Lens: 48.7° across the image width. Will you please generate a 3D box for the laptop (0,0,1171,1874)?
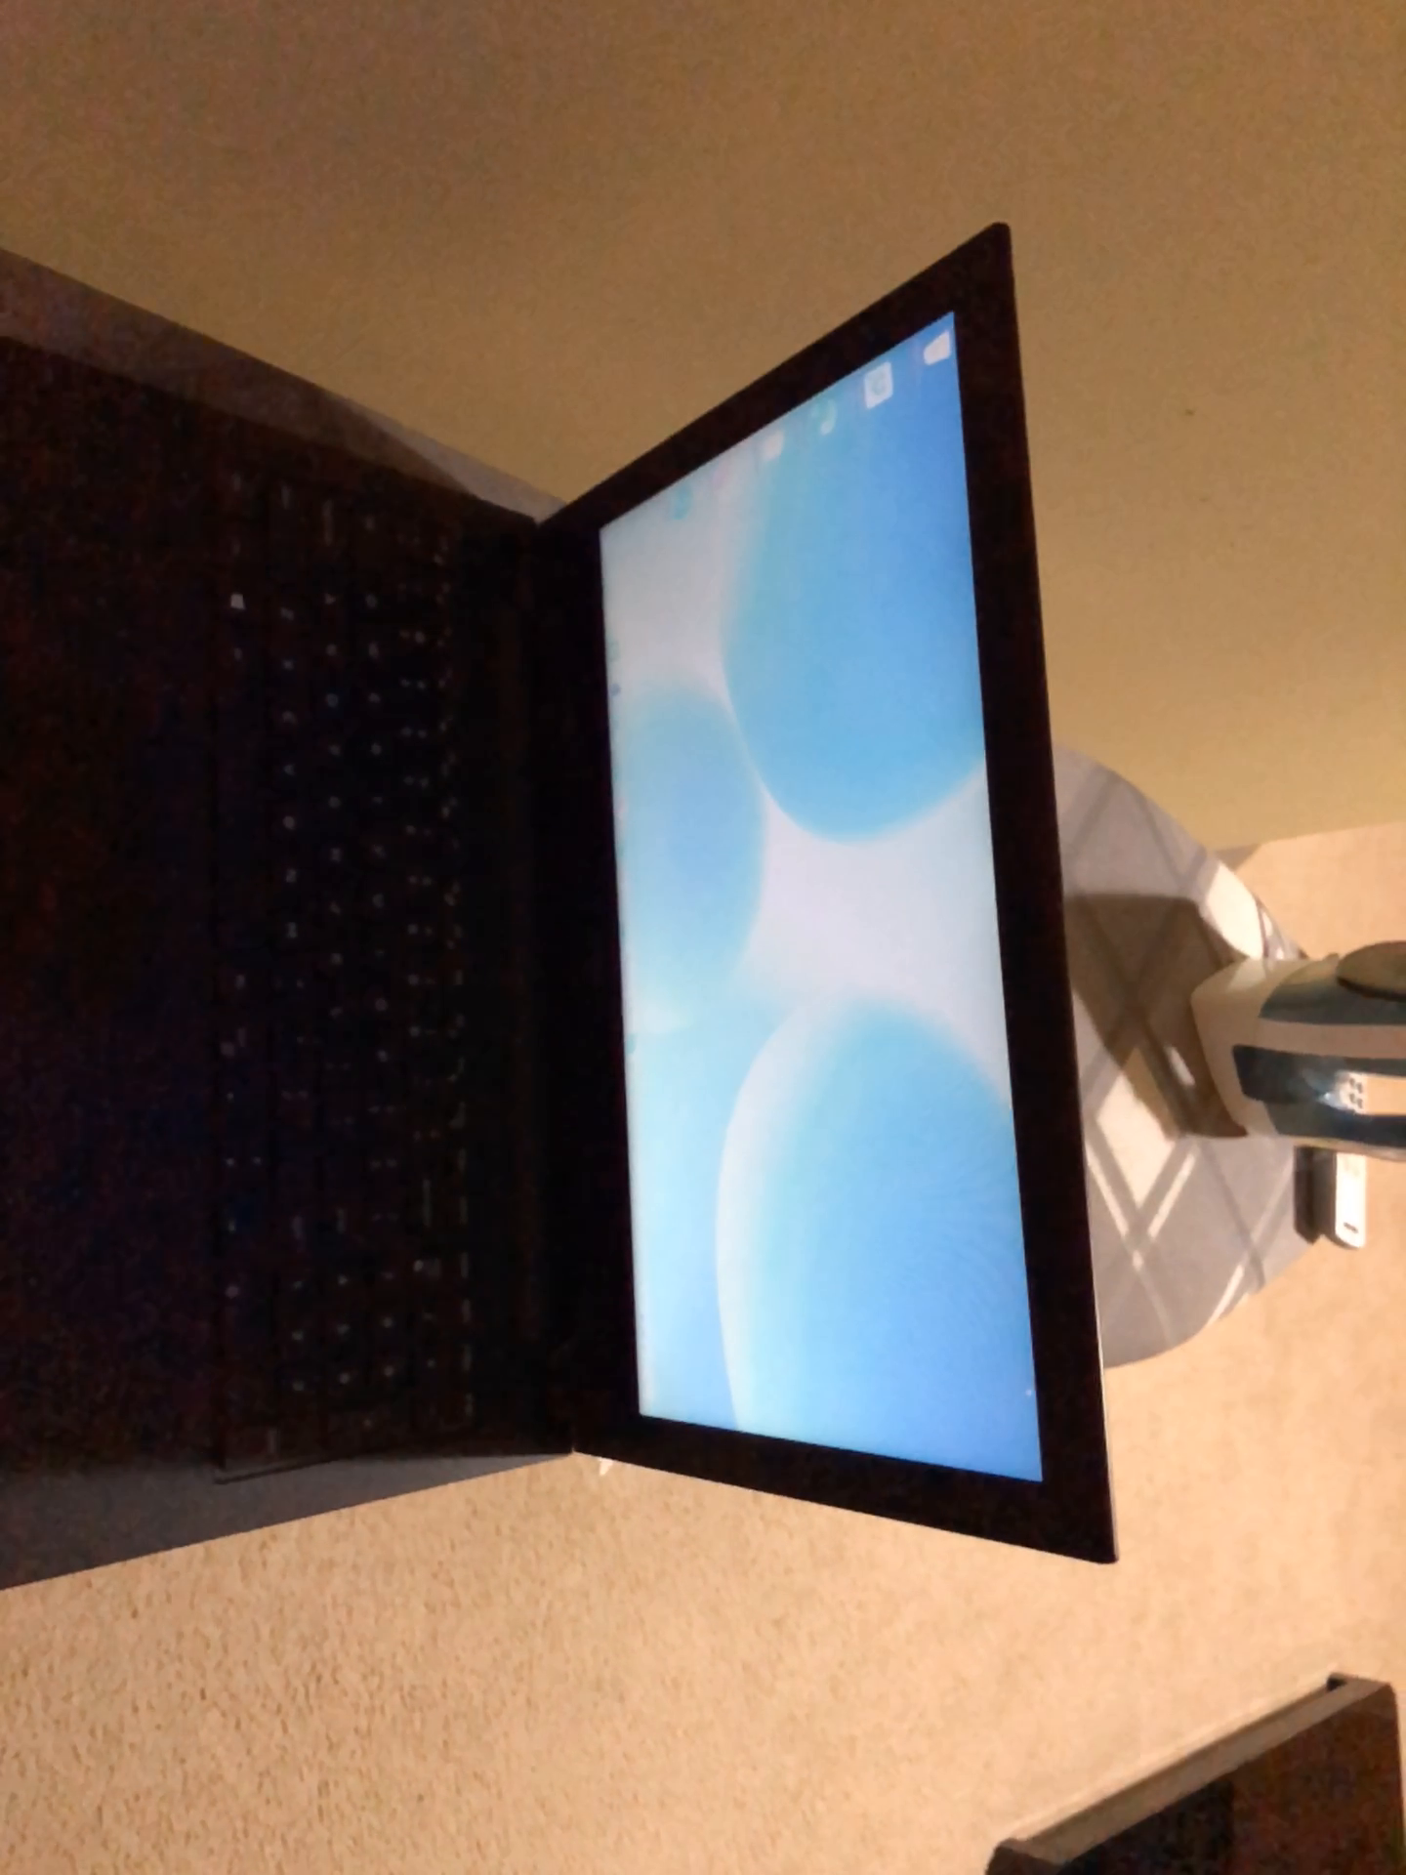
[{"bbox_3d":[-0.056,-0.010,0.423,0.248,0.231,0.352,5,79,-46],"label":"laptop"}]
